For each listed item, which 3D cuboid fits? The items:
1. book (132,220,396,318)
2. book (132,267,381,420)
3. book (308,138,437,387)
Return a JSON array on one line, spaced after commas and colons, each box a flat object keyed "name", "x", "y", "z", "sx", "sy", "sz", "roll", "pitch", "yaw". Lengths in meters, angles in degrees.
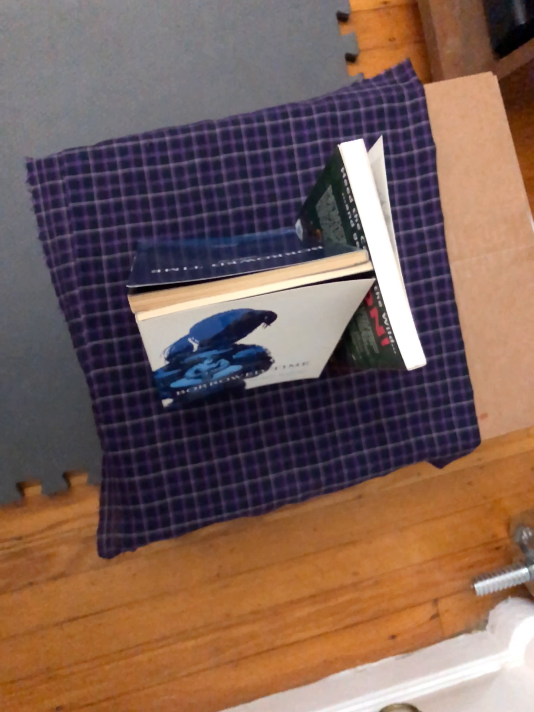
[{"name": "book", "x": -0.017, "y": -0.071, "z": 0.426, "sx": 0.150, "sy": 0.200, "sz": 0.010, "roll": -10, "pitch": 111, "yaw": -8}, {"name": "book", "x": -0.012, "y": 0.002, "z": 0.422, "sx": 0.140, "sy": 0.200, "sz": 0.010, "roll": -13, "pitch": 72, "yaw": -10}, {"name": "book", "x": 0.067, "y": -0.054, "z": 0.431, "sx": 0.020, "sy": 0.190, "sz": 0.140, "roll": -14, "pitch": 91, "yaw": -2}]
